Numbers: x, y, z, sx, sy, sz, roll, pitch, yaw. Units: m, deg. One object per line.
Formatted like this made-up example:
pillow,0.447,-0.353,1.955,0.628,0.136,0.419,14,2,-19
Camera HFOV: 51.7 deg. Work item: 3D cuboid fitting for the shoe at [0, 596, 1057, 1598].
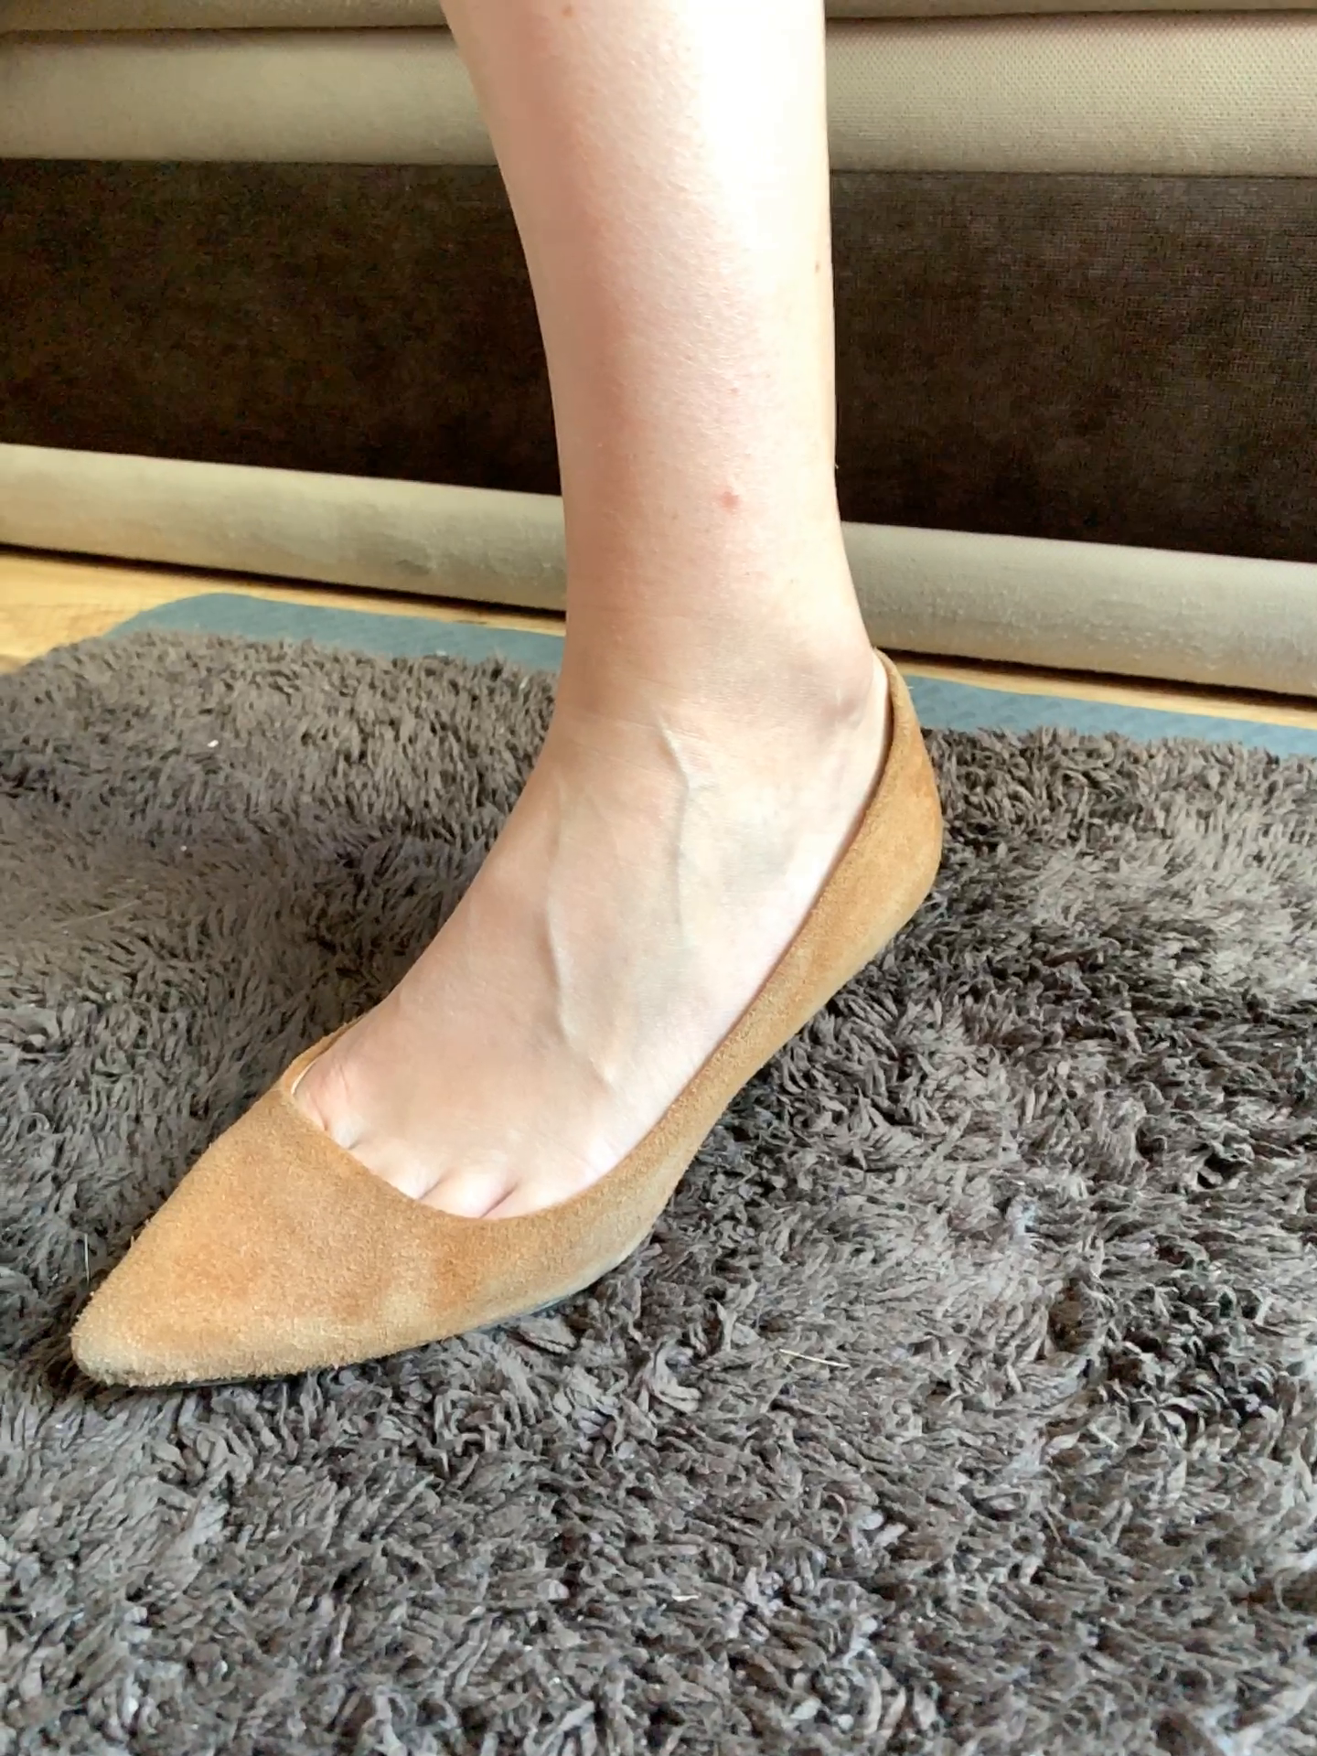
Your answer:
shoe,-0.026,0.022,0.306,0.250,0.080,0.090,-28,42,-33
